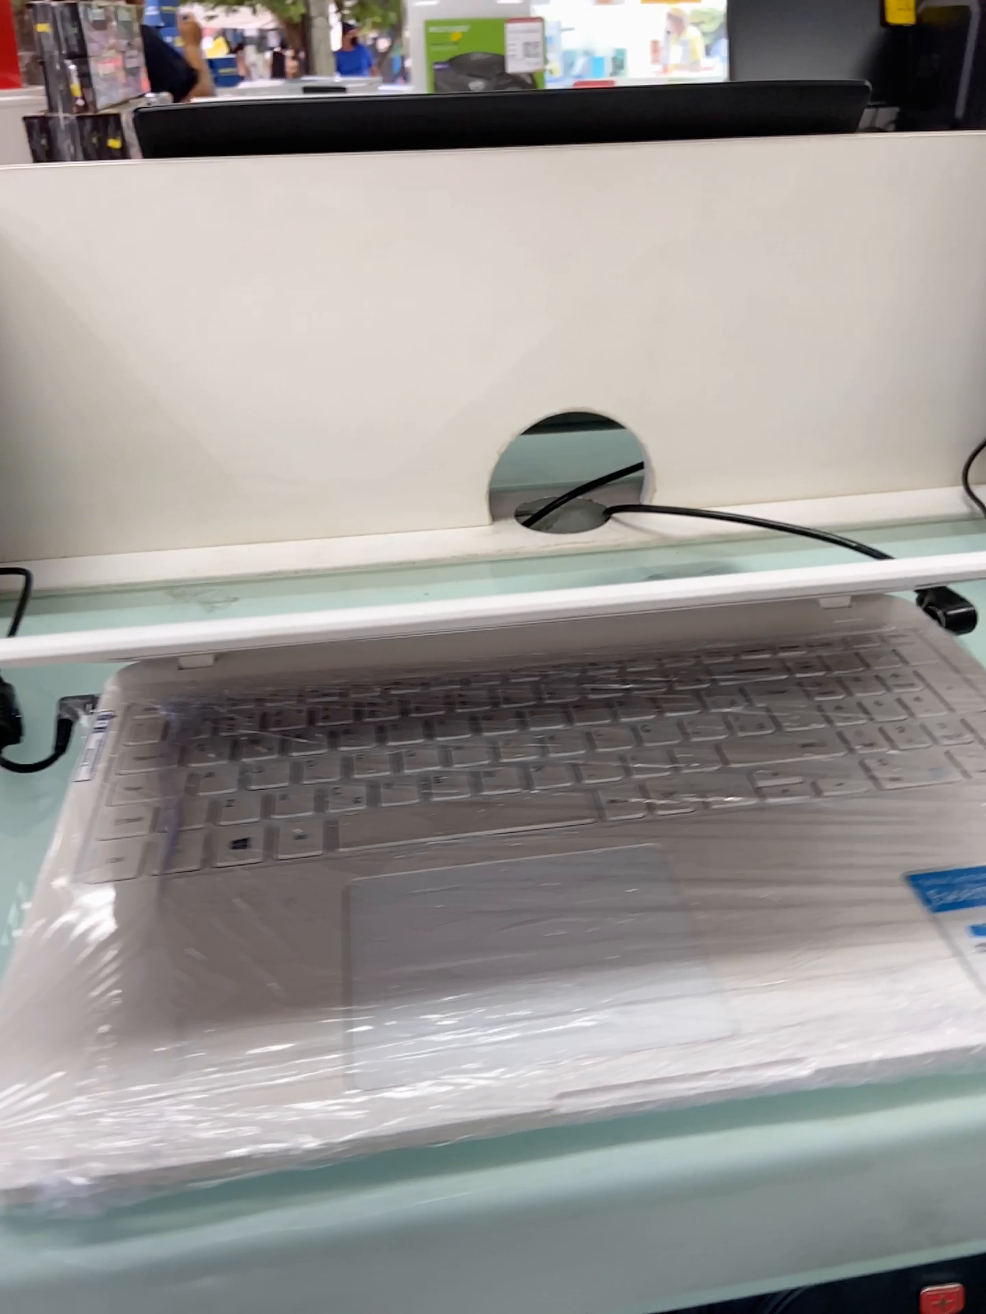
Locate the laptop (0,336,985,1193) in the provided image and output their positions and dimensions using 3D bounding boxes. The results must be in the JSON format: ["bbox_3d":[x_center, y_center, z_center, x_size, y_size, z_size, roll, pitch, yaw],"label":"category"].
[{"bbox_3d":[0.034,-0.005,0.345,0.372,0.129,0.248,-5,31,-7],"label":"laptop"}]
